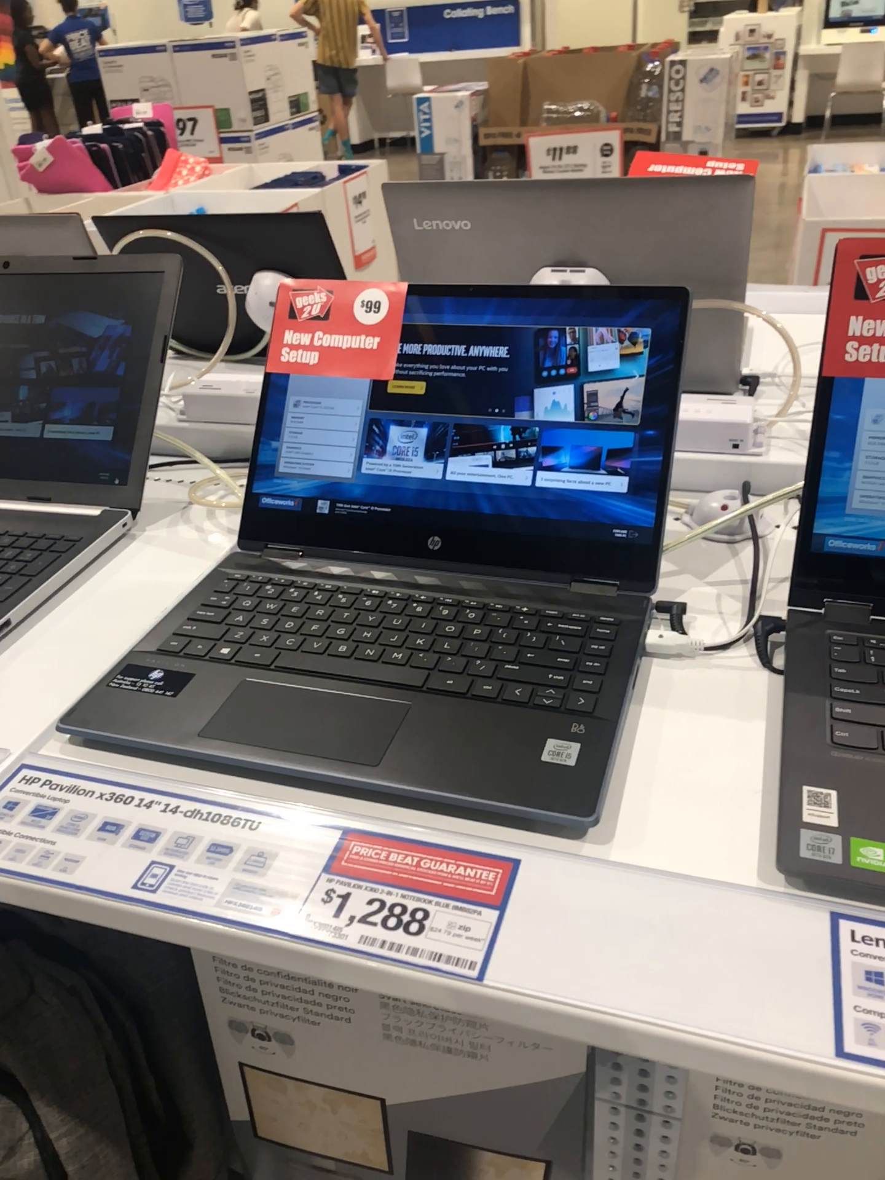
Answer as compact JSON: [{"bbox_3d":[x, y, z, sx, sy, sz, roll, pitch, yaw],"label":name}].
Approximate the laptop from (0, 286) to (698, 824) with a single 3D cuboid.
[{"bbox_3d":[-0.024,-0.062,0.617,0.315,0.165,0.350,7,32,17],"label":"laptop"}]
